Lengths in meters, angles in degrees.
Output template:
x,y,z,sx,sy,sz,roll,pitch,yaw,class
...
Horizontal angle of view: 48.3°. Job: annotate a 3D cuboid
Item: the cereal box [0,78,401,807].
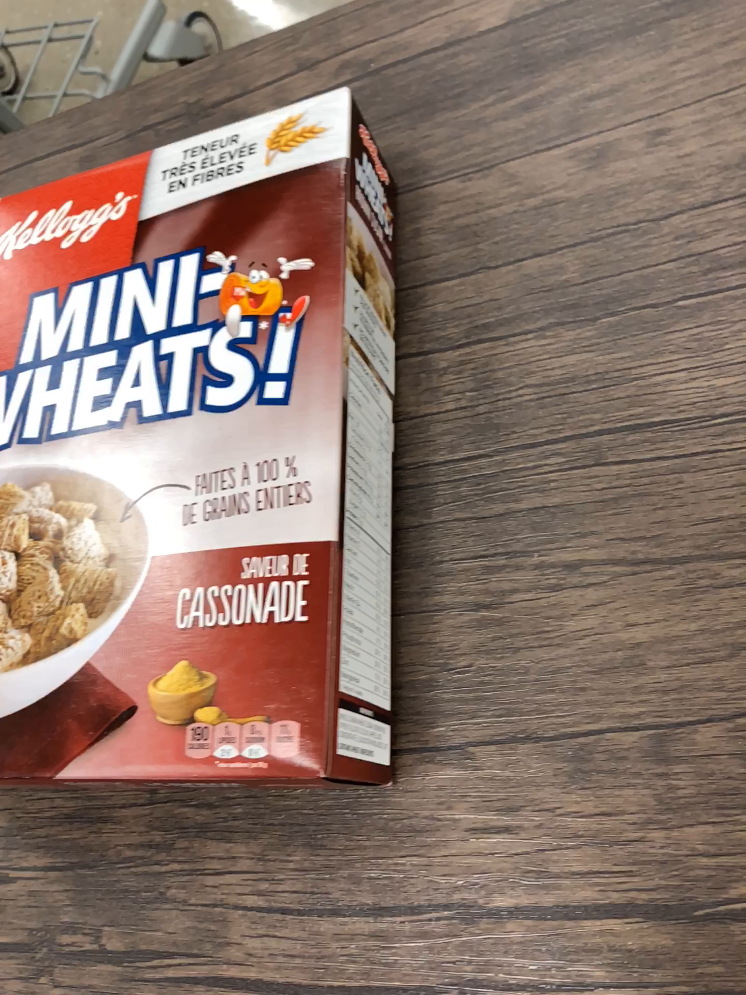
x,y,z,sx,sy,sz,roll,pitch,yaw,class
-0.098,-0.017,0.332,0.210,0.060,0.260,-7,67,20,cereal box
